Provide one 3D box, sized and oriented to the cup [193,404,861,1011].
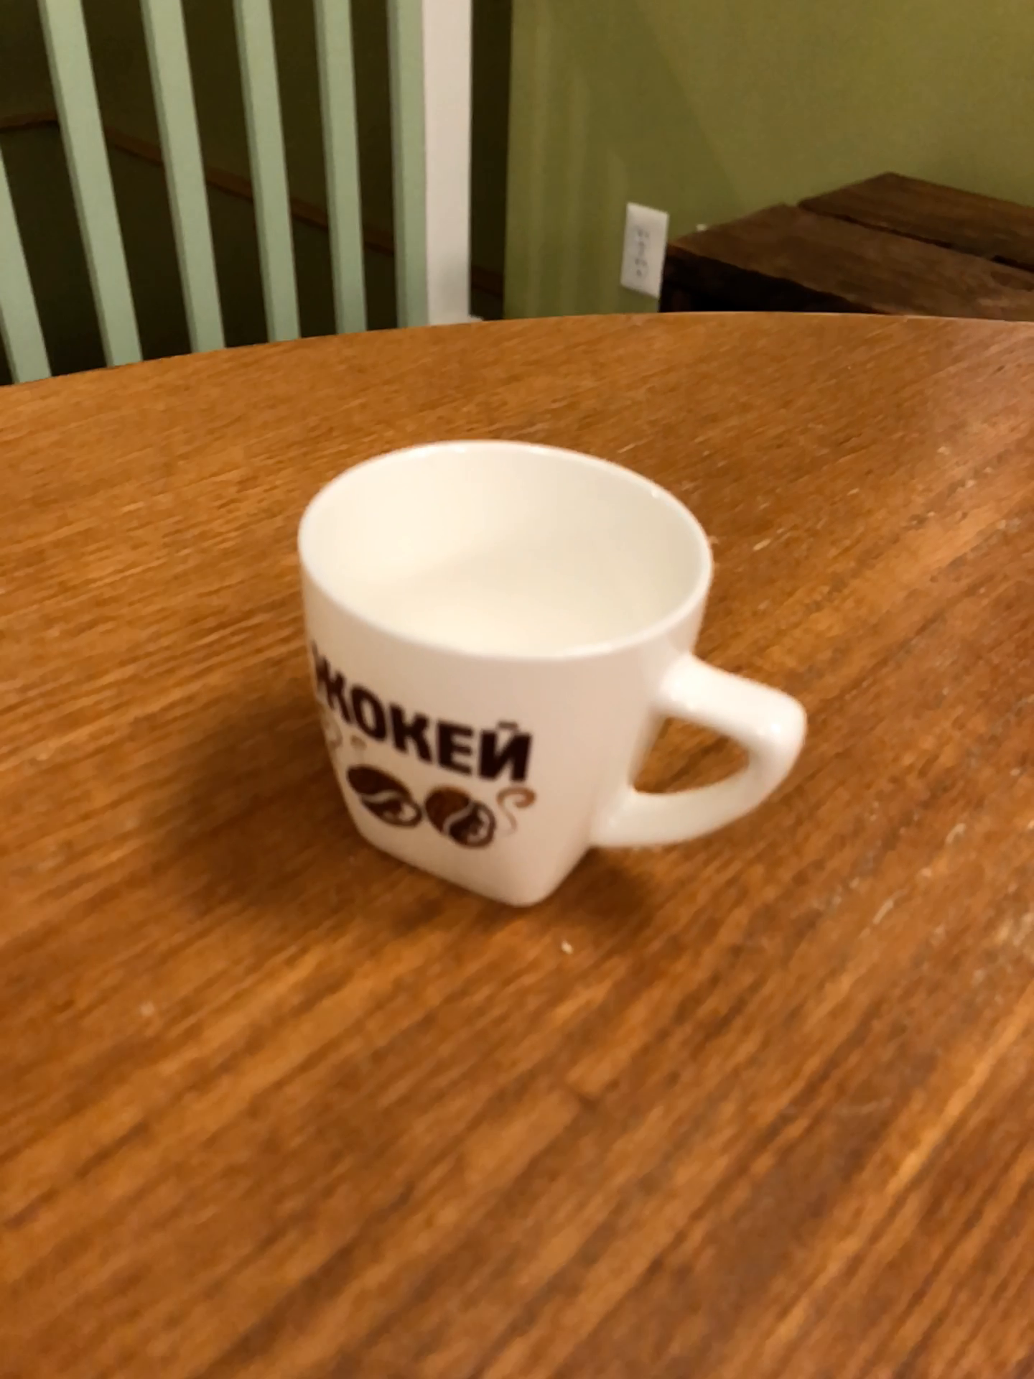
[{"bbox_3d":[0.003,-0.003,0.177,0.075,0.047,0.060,21,41,22],"label":"cup"}]
